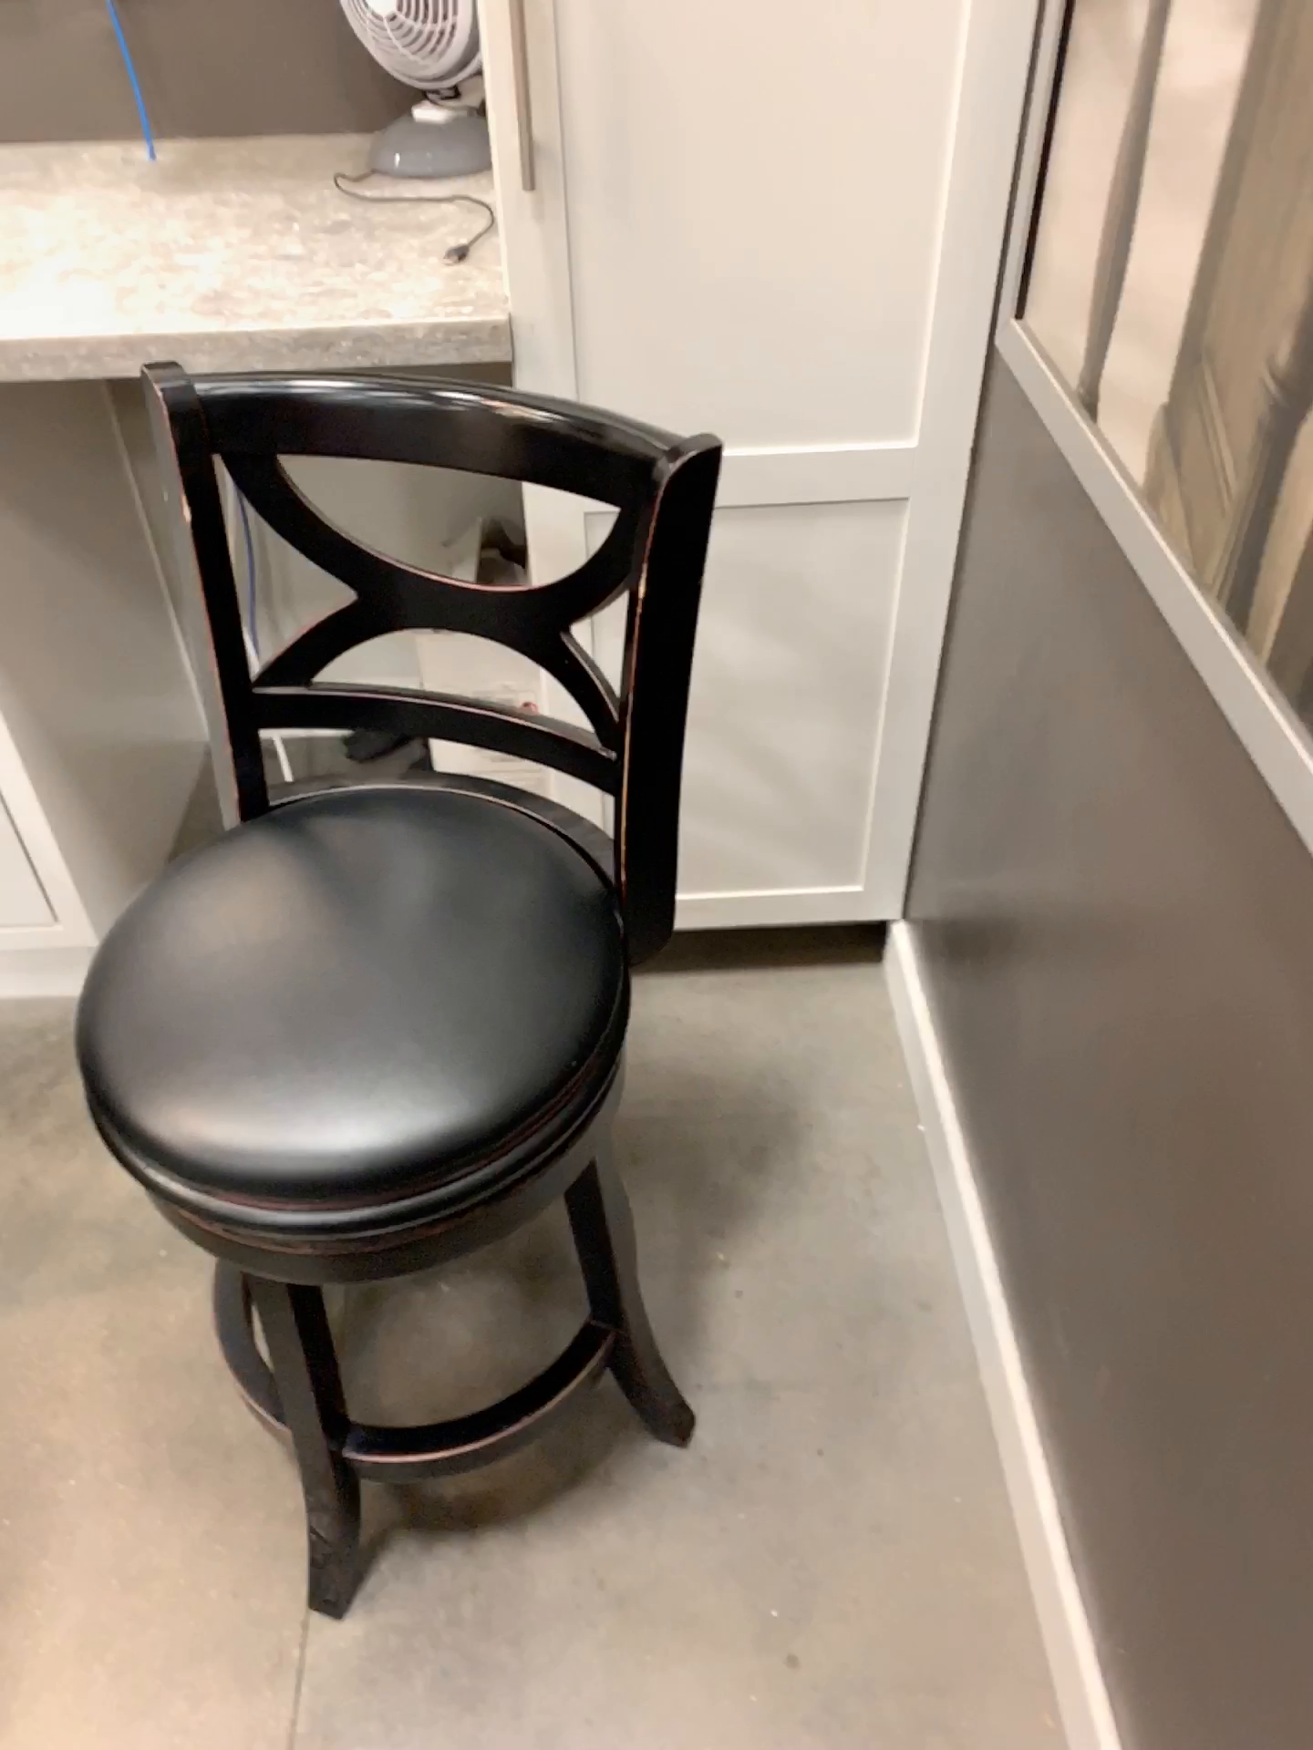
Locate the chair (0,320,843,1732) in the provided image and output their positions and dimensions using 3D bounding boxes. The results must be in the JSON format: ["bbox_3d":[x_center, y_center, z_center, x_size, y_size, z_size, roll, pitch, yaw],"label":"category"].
[{"bbox_3d":[-0.219,0.139,1.094,0.558,0.911,0.607,12,44,14],"label":"chair"}]
